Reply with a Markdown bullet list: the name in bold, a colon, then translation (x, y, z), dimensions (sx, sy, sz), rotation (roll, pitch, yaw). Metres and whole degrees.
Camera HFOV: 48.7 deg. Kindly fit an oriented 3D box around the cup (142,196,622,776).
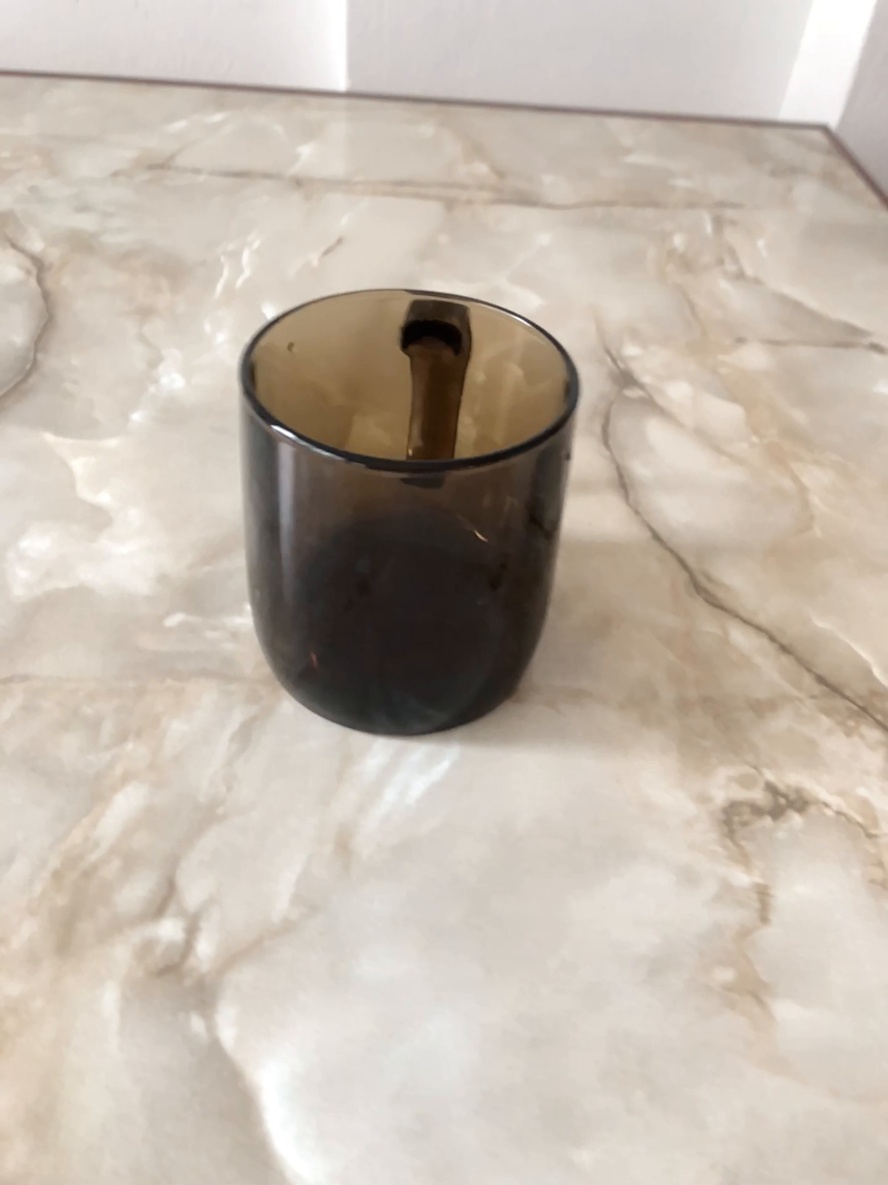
- **cup**: translation (-0.009, -0.034, 0.271), dimensions (0.090, 0.090, 0.123), rotation (11, 44, 5)
